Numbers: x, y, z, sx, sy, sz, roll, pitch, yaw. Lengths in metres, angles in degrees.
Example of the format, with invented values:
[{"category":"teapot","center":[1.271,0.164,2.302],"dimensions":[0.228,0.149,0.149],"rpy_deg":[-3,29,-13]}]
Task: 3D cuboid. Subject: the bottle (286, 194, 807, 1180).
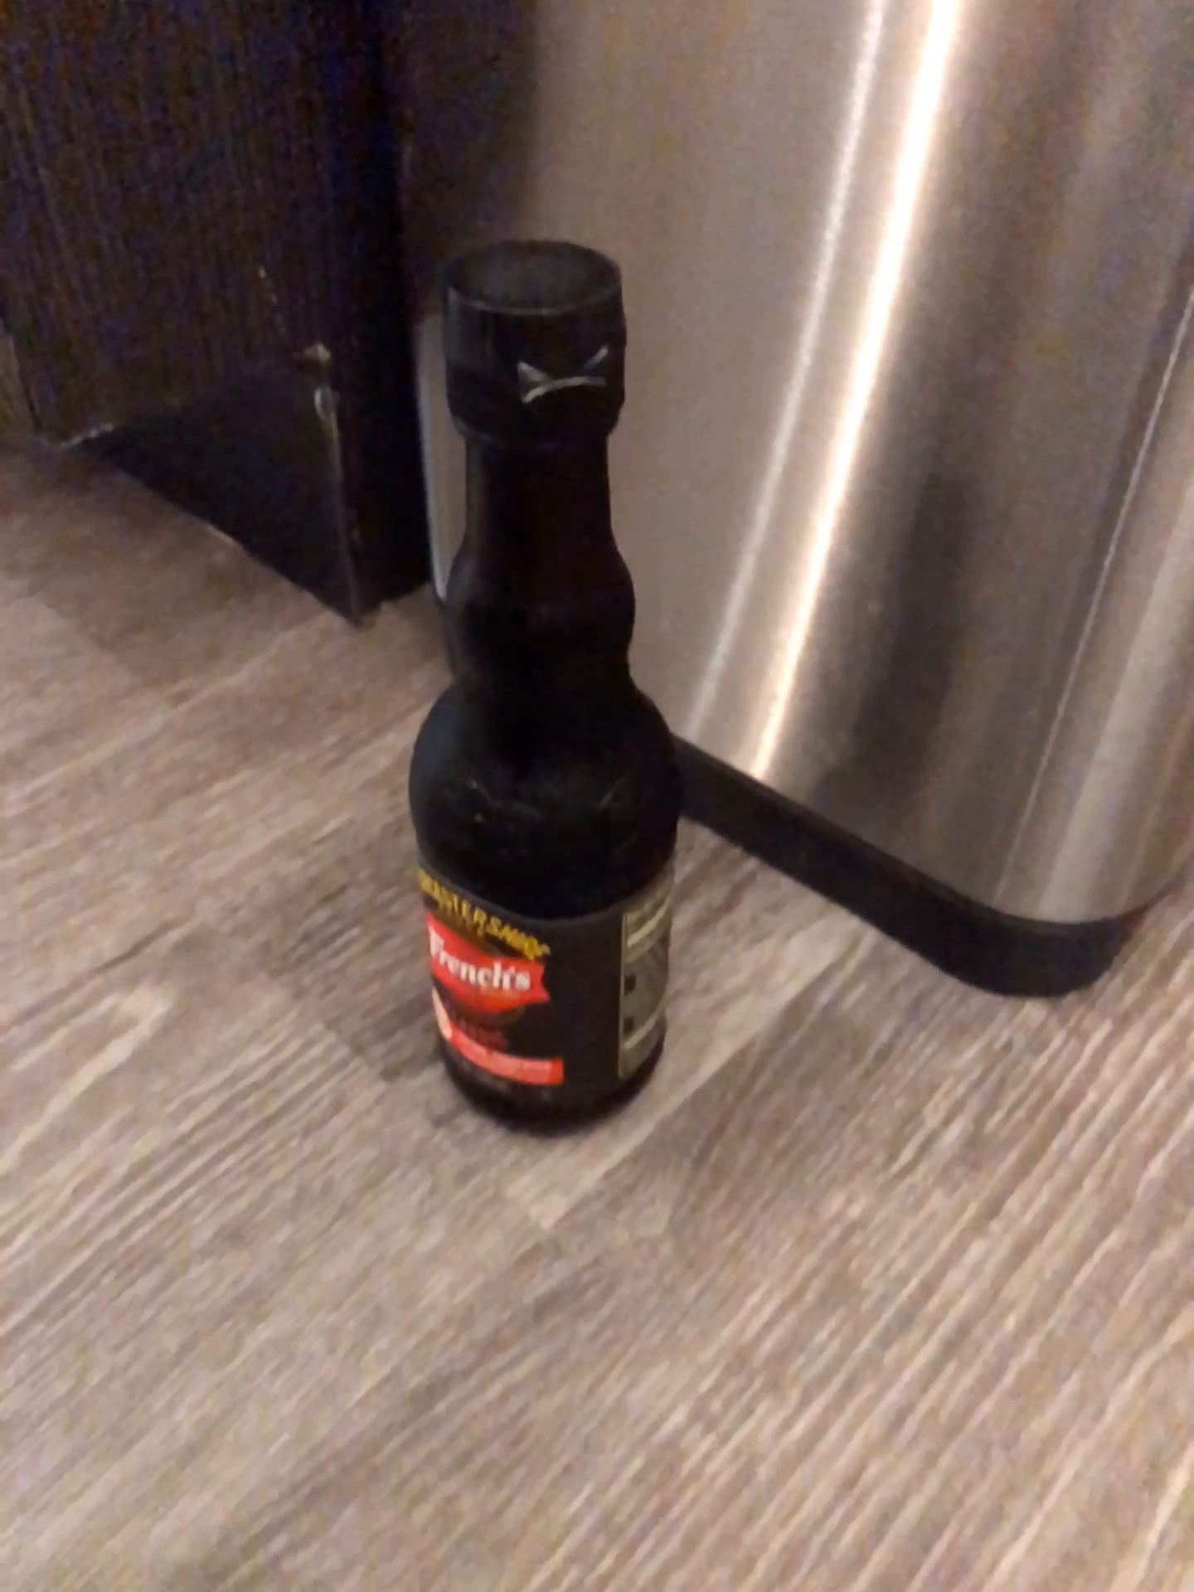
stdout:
[{"category":"bottle","center":[-0.009,-0.010,0.284],"dimensions":[0.060,0.199,0.060],"rpy_deg":[1,43,-1]}]
